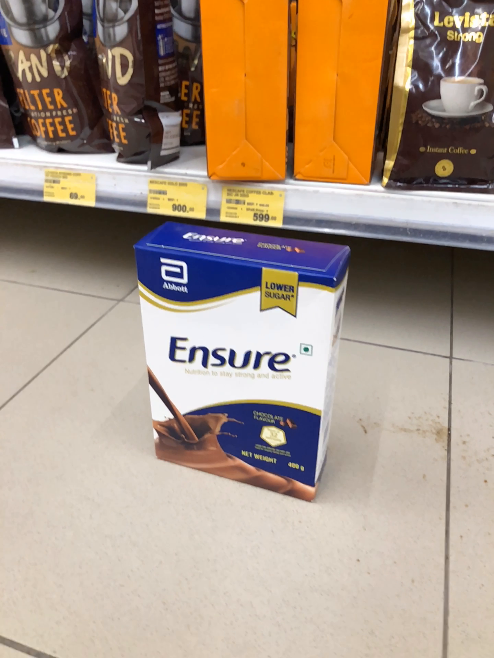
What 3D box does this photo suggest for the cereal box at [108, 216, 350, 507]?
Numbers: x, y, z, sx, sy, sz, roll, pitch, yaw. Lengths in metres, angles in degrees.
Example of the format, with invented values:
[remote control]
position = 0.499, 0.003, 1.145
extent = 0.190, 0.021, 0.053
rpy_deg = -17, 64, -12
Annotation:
[cereal box]
position = -0.008, 0.022, 0.389
extent = 0.140, 0.179, 0.060
rpy_deg = 10, 32, 19
